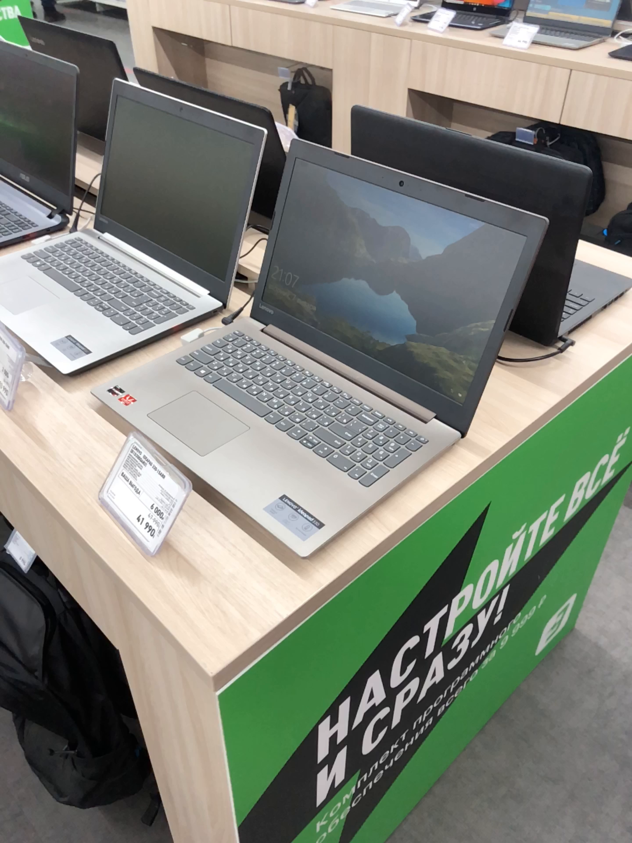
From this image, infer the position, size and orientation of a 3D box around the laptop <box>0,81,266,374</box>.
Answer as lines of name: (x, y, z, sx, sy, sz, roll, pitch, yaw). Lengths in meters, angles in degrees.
laptop: (-0.303, -0.294, 0.958, 0.343, 0.207, 0.323, 32, 49, 33)

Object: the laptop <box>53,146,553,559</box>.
laptop: (-0.017, -0.110, 0.733, 0.329, 0.209, 0.351, -32, 47, -33)
